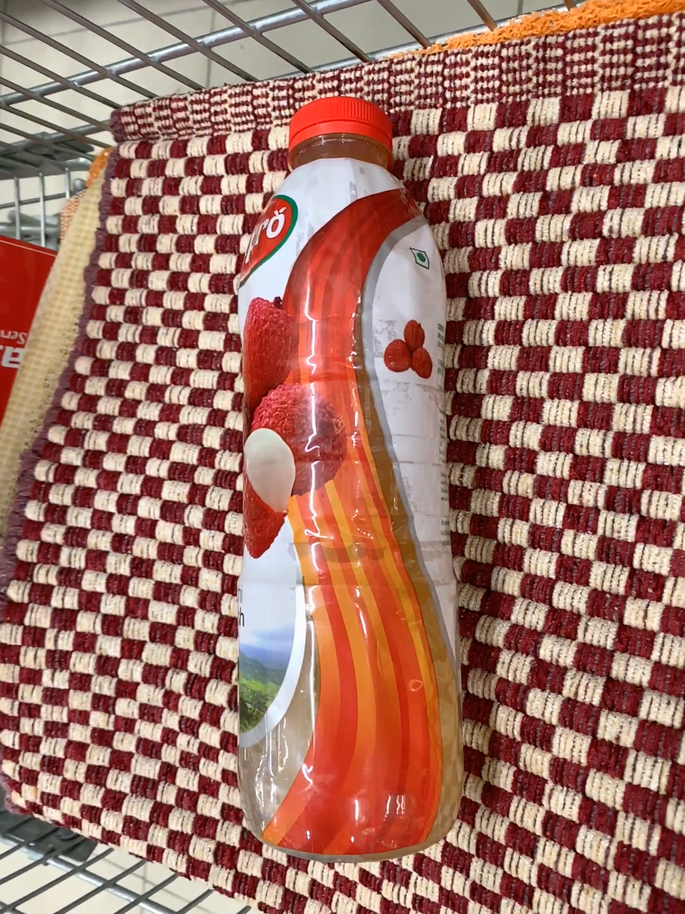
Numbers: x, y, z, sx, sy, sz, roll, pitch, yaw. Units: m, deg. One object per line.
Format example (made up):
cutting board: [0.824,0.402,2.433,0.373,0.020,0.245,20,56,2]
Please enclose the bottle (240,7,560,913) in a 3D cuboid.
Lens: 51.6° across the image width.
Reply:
bottle: [0.011,-0.002,0.230,0.080,0.070,0.240,-1,87,-12]
